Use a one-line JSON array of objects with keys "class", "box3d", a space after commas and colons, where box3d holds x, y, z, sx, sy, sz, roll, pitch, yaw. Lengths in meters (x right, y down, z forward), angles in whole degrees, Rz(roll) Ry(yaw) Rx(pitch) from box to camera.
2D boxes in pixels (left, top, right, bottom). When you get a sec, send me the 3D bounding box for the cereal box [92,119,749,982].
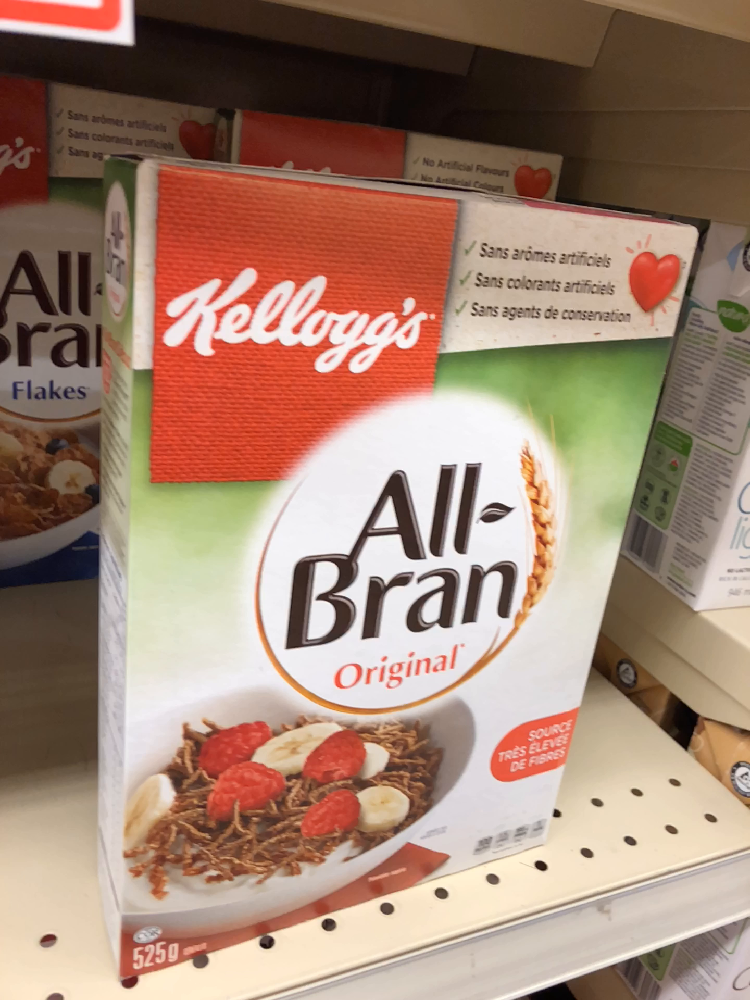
[{"class": "cereal box", "box3d": [0.012, 0.020, 0.271, 0.190, 0.238, 0.050, -4, 25, -27]}]
